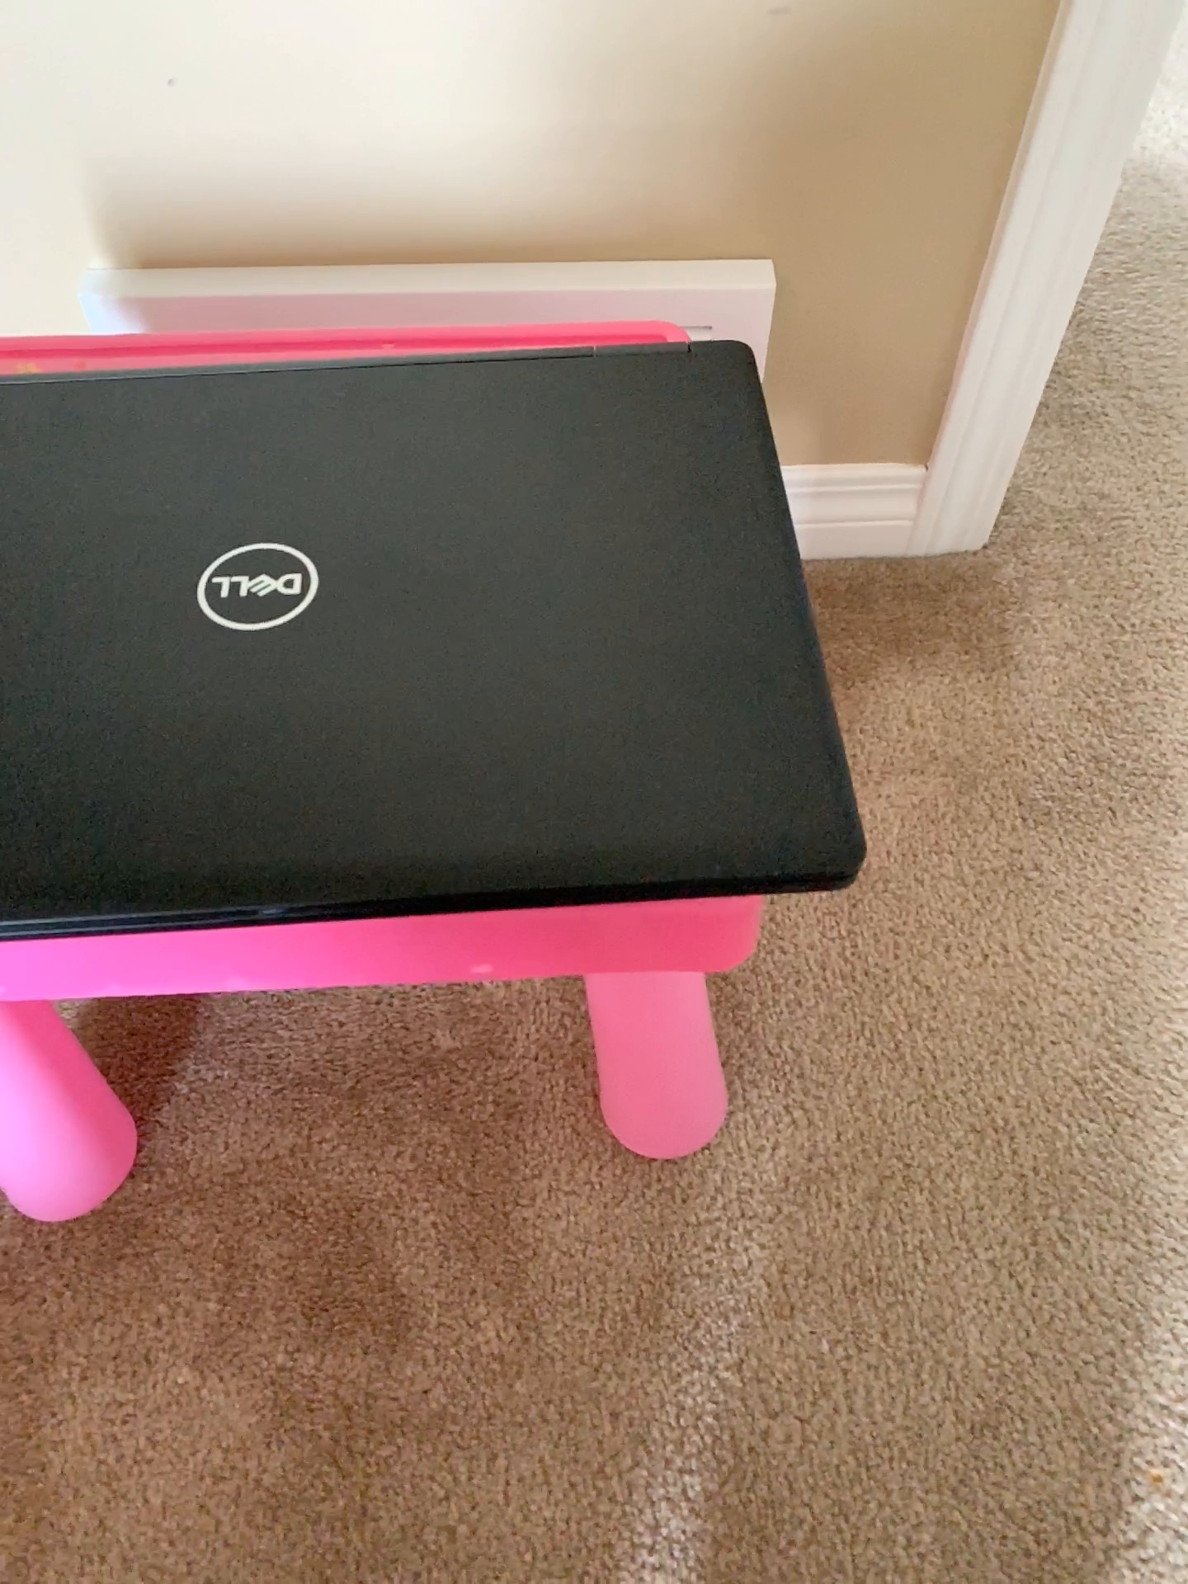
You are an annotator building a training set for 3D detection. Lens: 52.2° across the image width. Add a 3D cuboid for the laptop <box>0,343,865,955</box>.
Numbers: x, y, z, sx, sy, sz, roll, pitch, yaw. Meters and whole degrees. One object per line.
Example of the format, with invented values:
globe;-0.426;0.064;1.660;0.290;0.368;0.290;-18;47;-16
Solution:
laptop;-0.114;-0.066;0.410;0.366;0.005;0.241;-3;56;-2
